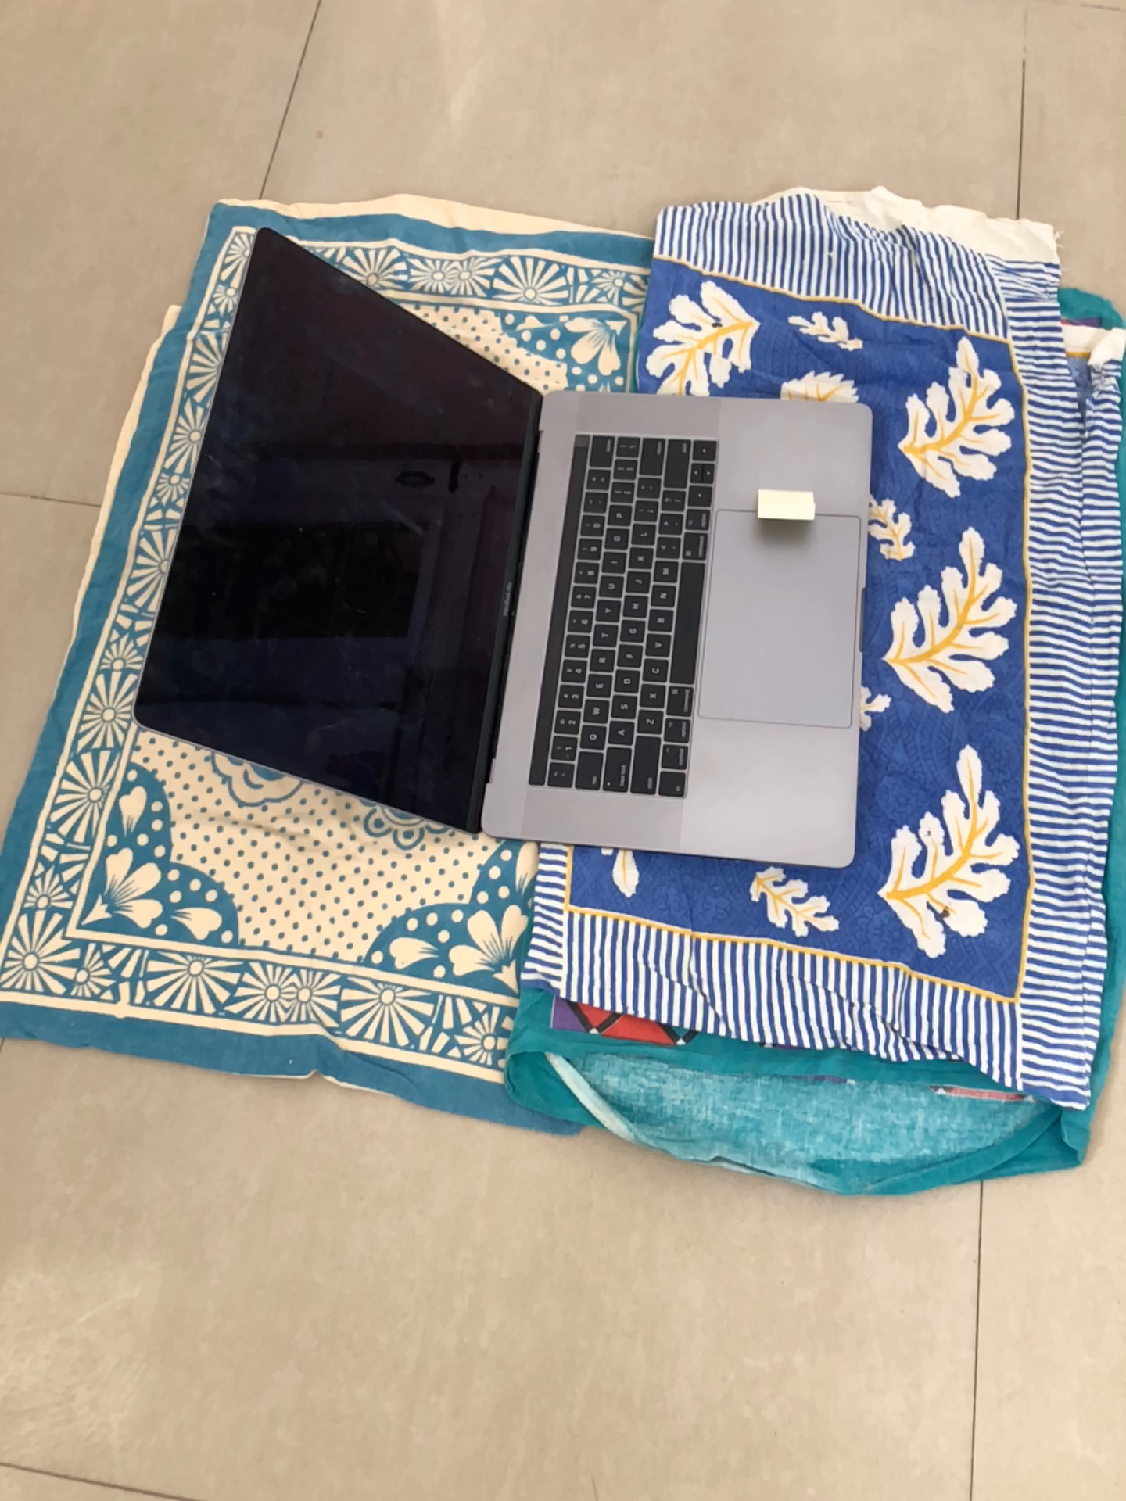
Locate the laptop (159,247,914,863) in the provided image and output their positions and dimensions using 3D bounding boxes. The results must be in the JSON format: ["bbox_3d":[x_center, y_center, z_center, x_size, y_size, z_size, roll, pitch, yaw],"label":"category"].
[{"bbox_3d":[-0.002,-0.128,0.785,0.401,0.132,0.336,5,69,5],"label":"laptop"}]
